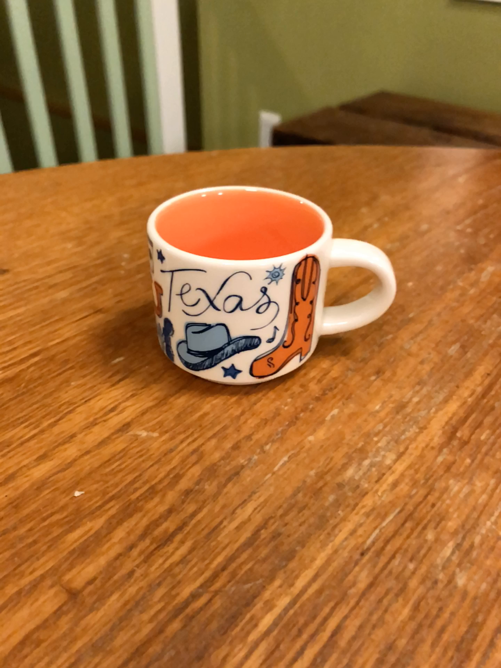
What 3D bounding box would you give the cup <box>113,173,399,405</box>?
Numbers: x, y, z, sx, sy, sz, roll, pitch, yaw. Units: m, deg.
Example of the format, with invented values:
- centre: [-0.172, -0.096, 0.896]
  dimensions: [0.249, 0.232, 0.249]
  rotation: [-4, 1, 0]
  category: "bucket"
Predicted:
- centre: [0.004, -0.018, 0.188]
  dimensions: [0.076, 0.046, 0.064]
  rotation: [4, 36, 5]
  category: "cup"
